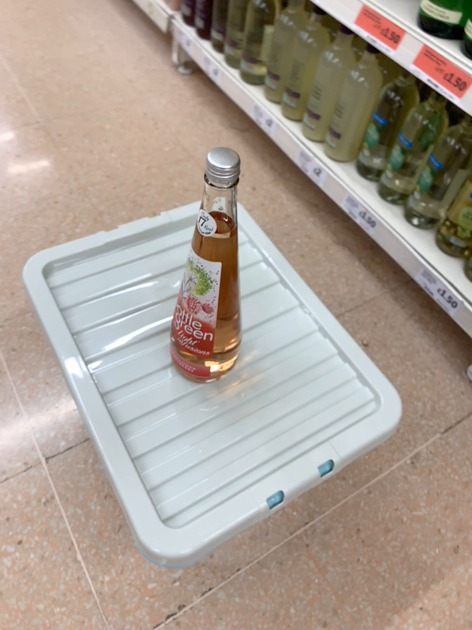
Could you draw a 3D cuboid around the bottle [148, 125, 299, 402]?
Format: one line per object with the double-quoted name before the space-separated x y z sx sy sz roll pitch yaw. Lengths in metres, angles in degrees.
"bottle" -0.025 -0.029 0.507 0.090 0.299 0.081 -26 61 -23
